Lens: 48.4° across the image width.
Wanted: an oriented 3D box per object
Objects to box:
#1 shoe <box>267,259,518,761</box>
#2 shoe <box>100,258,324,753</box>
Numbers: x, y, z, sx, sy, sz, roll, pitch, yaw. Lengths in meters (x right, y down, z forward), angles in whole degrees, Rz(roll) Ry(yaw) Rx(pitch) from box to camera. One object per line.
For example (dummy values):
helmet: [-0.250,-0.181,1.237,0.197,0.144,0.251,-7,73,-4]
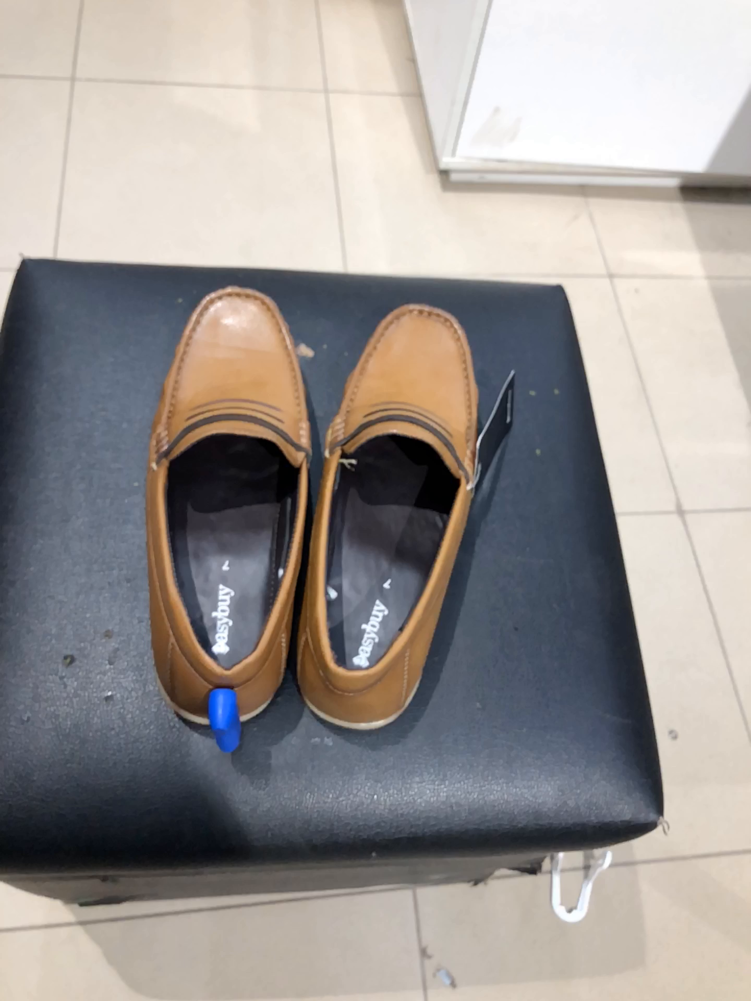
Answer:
shoe: [0.015,-0.003,0.492,0.098,0.088,0.274,11,60,-2]
shoe: [-0.083,-0.003,0.482,0.098,0.088,0.274,2,61,-7]
